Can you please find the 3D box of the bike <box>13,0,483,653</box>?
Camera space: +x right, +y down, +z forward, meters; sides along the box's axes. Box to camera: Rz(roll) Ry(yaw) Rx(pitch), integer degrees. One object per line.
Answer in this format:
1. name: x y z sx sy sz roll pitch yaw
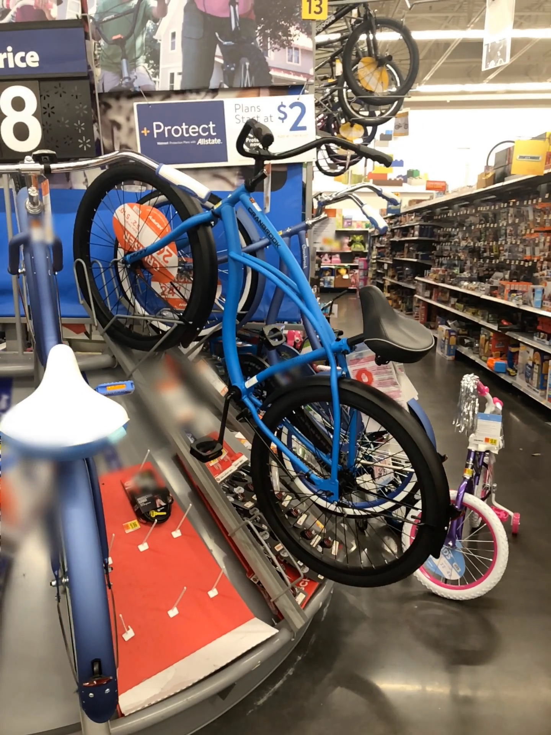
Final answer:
1. bike: -0.079 -0.525 1.797 1.559 1.122 0.506 34 24 21
